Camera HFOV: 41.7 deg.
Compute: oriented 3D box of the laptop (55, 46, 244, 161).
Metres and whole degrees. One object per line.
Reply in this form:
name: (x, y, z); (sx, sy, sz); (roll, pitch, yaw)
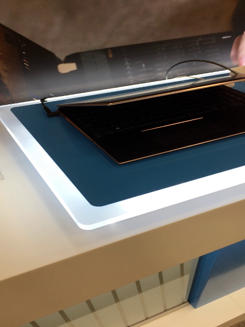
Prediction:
laptop: (0.107, -0.137, 0.623); (0.380, 0.090, 0.225); (-16, 39, -21)
